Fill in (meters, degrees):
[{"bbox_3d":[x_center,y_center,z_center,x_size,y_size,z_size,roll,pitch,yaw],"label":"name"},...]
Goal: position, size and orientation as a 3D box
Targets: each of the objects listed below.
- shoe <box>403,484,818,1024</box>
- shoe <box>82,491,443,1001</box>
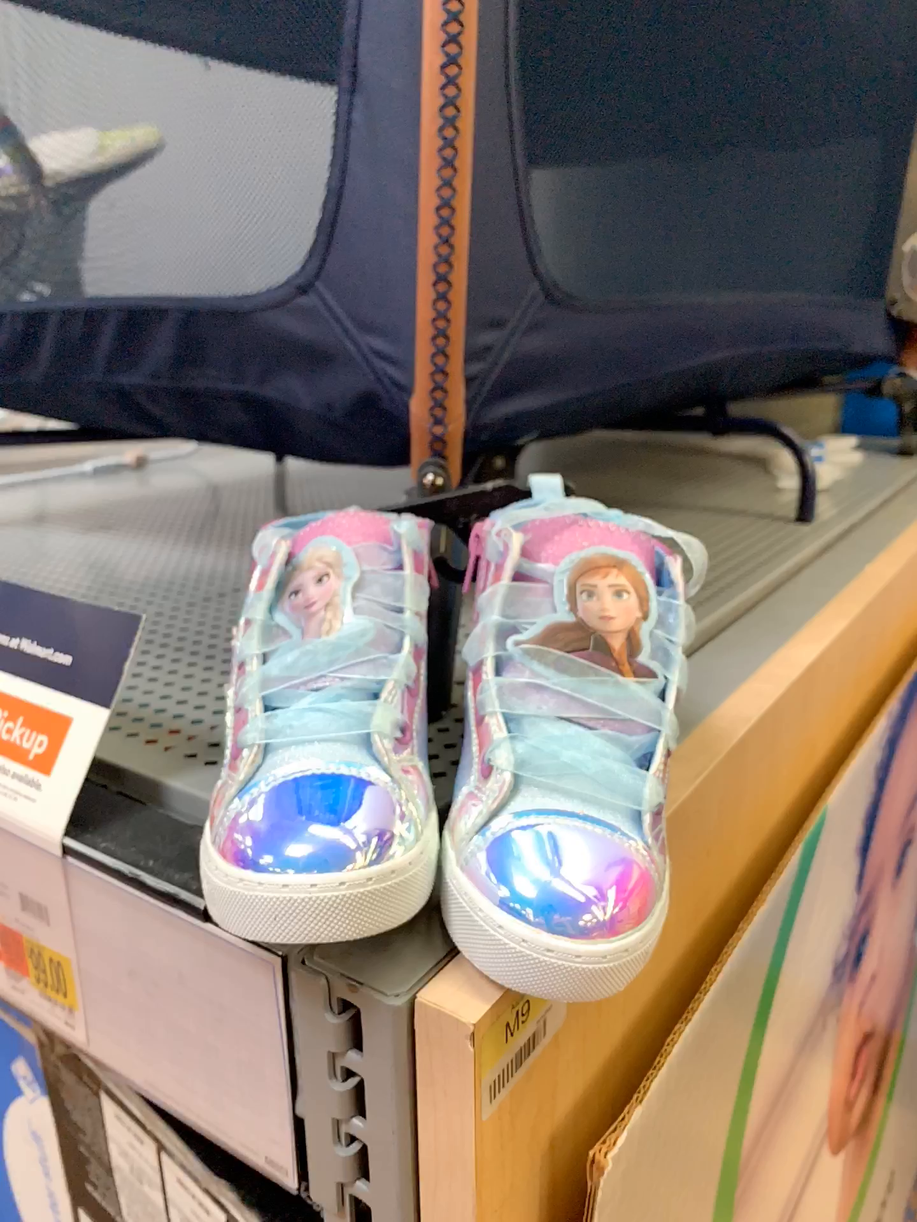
[{"bbox_3d":[0.037,0.028,0.325,0.089,0.102,0.183,5,18,0],"label":"shoe"},{"bbox_3d":[-0.048,0.027,0.328,0.079,0.102,0.183,0,18,1],"label":"shoe"}]
